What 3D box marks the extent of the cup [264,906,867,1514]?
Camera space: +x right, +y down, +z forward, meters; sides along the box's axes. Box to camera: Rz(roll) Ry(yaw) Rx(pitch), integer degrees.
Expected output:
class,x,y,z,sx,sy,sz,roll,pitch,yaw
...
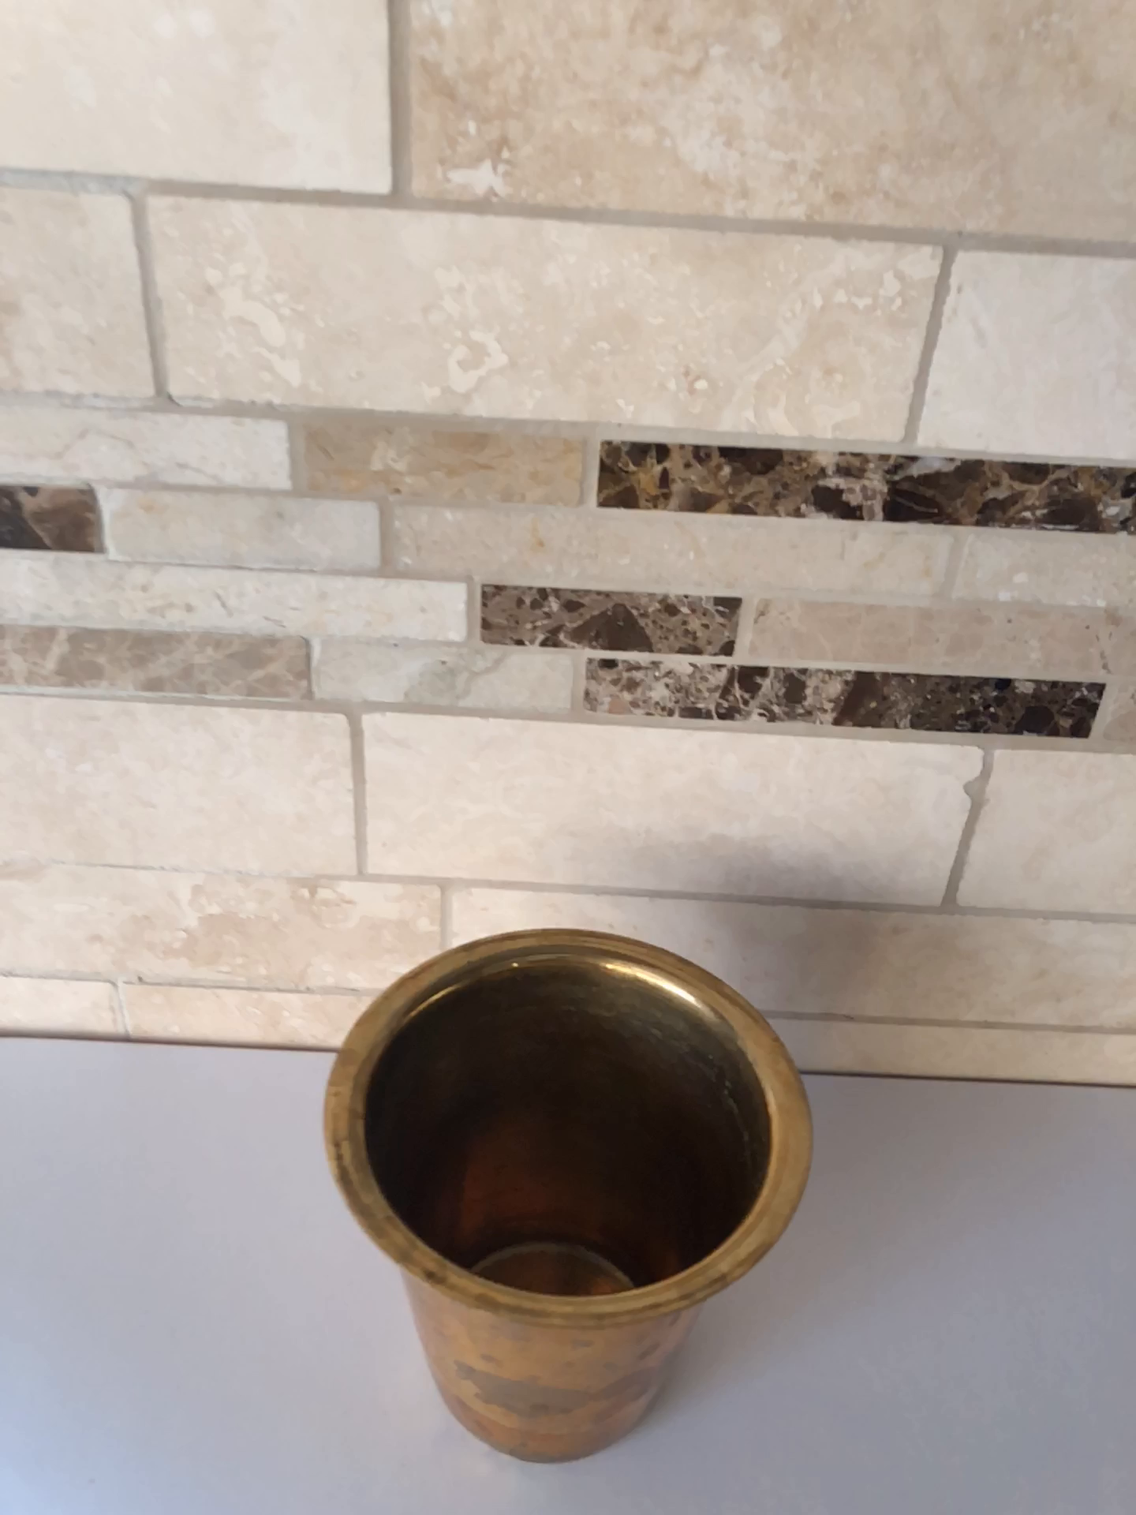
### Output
class,x,y,z,sx,sy,sz,roll,pitch,yaw
cup,-0.004,0.079,0.226,0.083,0.071,0.075,1,35,-5
